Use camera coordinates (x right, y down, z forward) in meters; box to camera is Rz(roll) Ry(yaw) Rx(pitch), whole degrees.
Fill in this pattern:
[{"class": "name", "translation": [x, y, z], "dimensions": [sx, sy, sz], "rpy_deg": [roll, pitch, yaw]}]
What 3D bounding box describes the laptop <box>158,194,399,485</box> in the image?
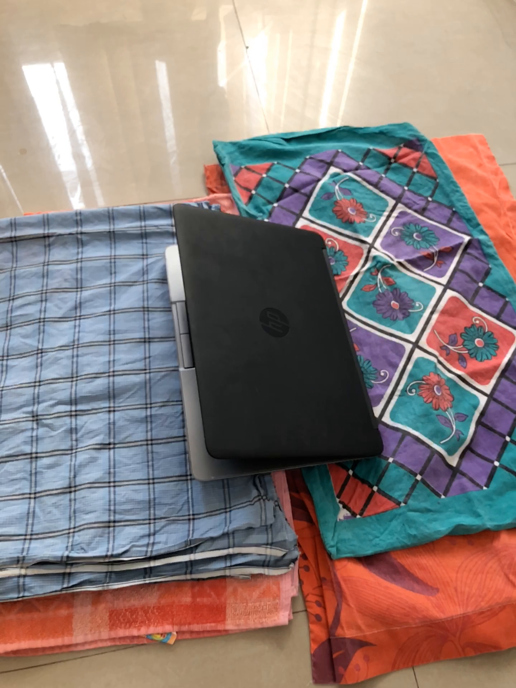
[{"class": "laptop", "translation": [0.012, -0.018, 0.691], "dimensions": [0.212, 0.099, 0.322], "rpy_deg": [-7, 64, -13]}]
